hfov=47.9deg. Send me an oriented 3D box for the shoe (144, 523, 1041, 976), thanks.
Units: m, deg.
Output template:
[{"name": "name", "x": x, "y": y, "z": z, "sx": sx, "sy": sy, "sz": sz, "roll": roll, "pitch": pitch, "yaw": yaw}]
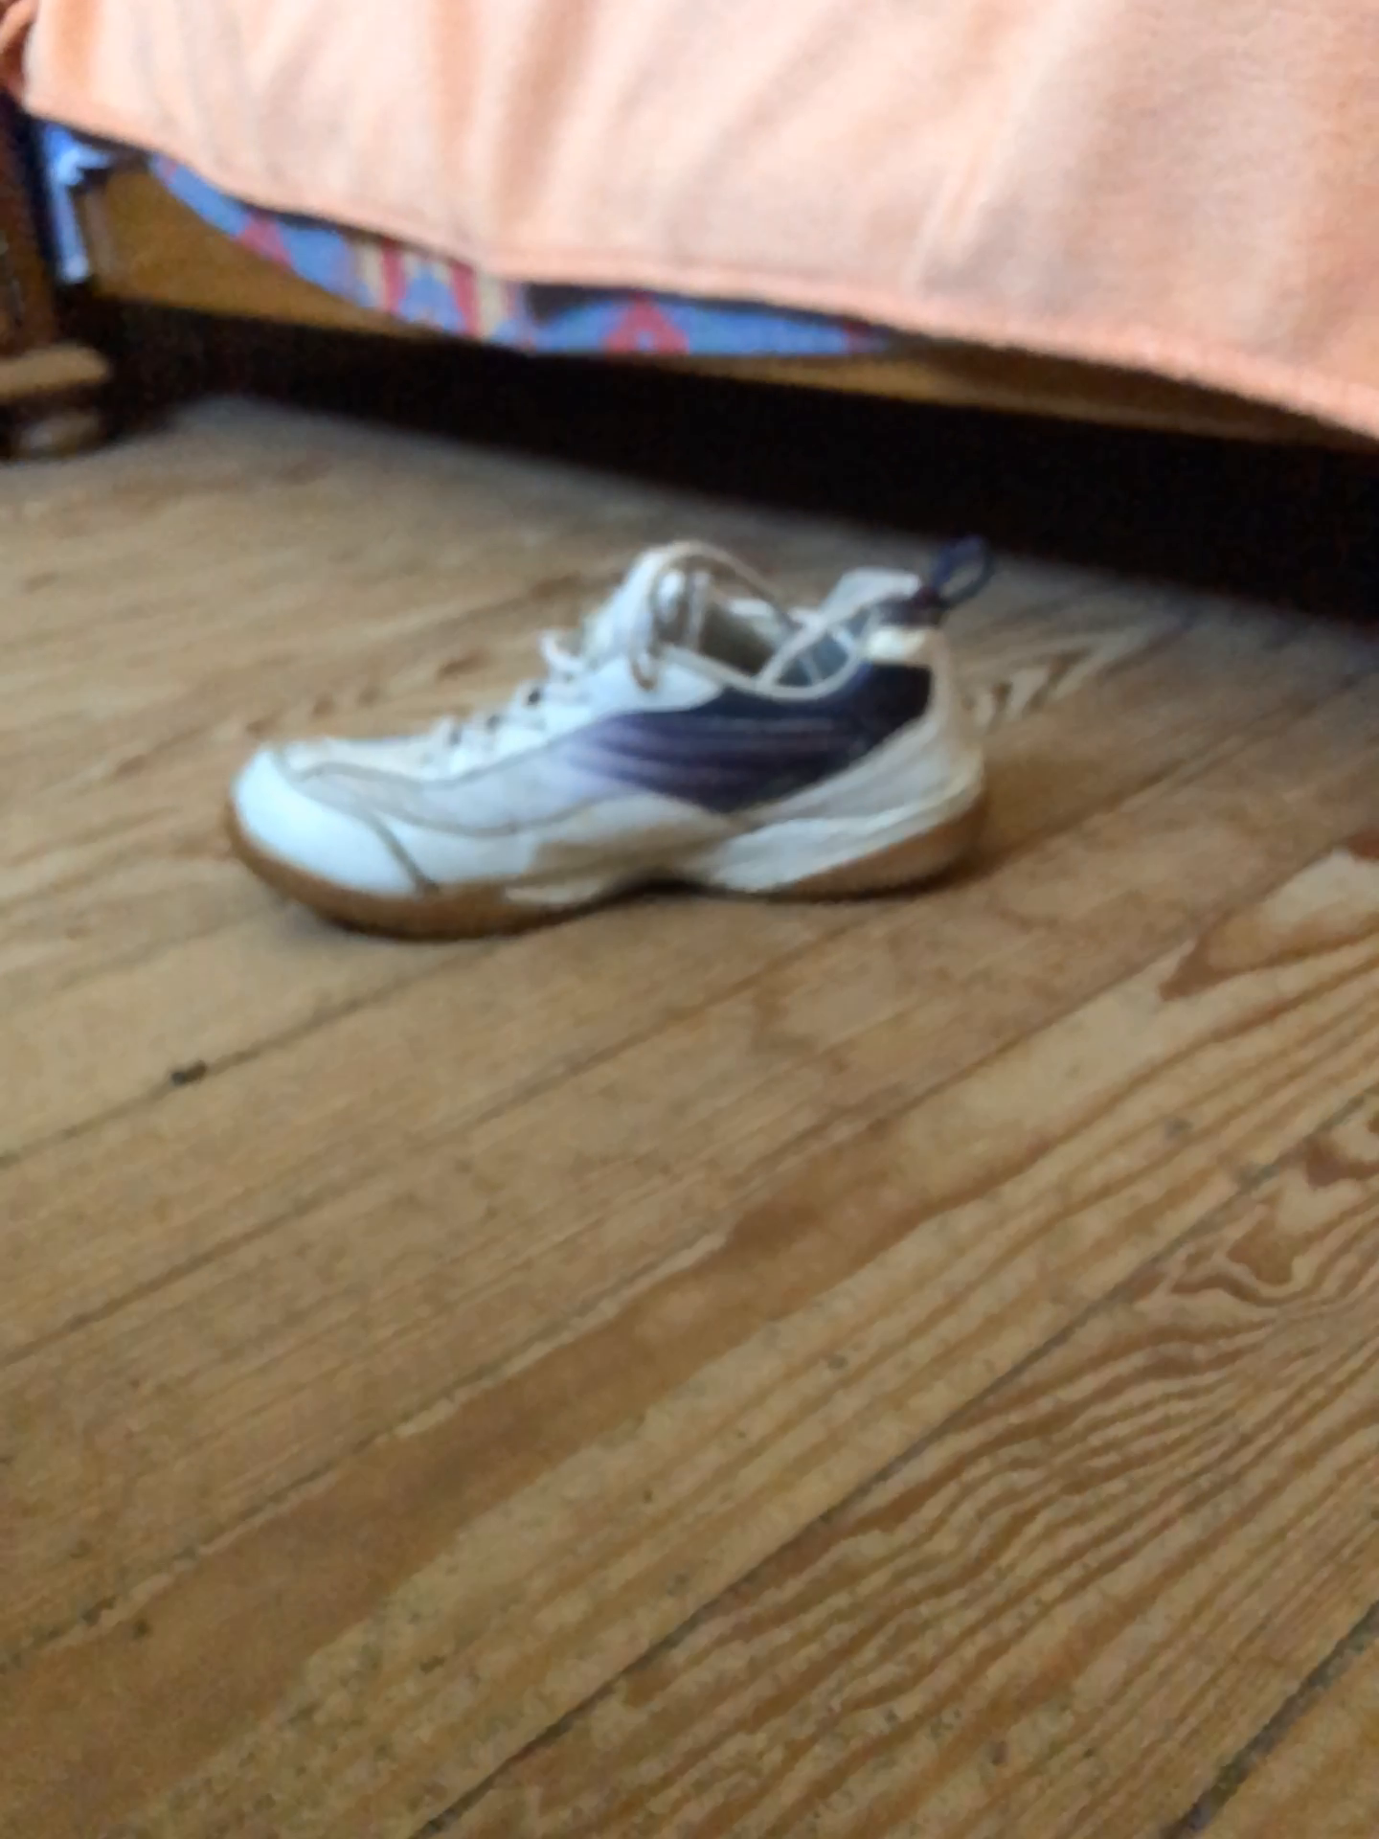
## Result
[{"name": "shoe", "x": -0.025, "y": -0.060, "z": 0.519, "sx": 0.260, "sy": 0.099, "sz": 0.111, "roll": -4, "pitch": 27, "yaw": 3}]
